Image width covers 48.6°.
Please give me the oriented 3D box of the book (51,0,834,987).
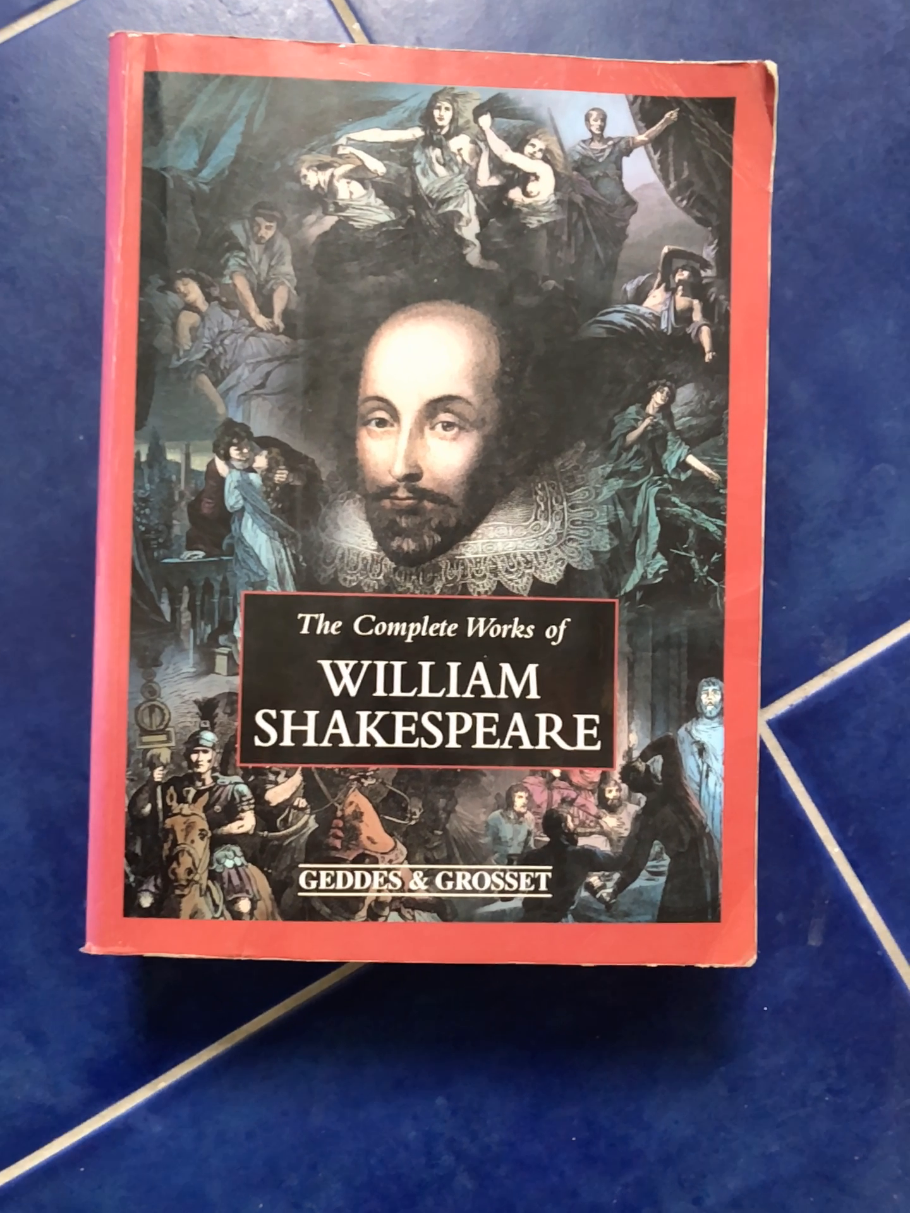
[{"bbox_3d":[-0.002,-0.031,0.309,0.210,0.060,0.270,2,89,-3],"label":"book"}]
